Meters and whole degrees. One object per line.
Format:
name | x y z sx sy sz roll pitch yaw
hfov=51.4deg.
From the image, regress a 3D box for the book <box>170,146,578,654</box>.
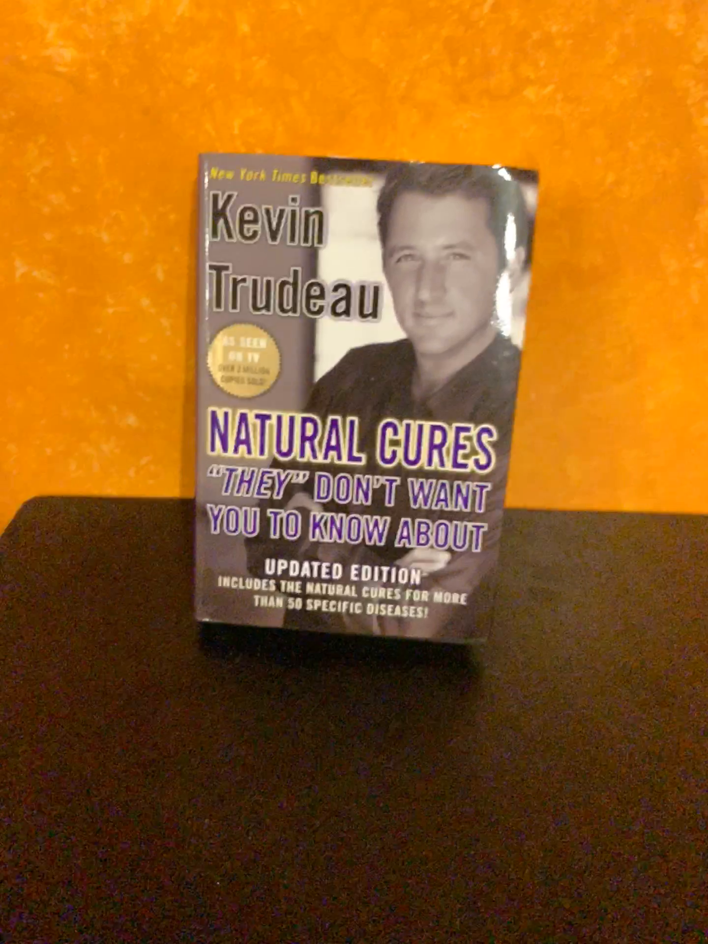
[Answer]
book | 0.004 -0.033 0.372 0.180 0.230 0.050 4 11 3
